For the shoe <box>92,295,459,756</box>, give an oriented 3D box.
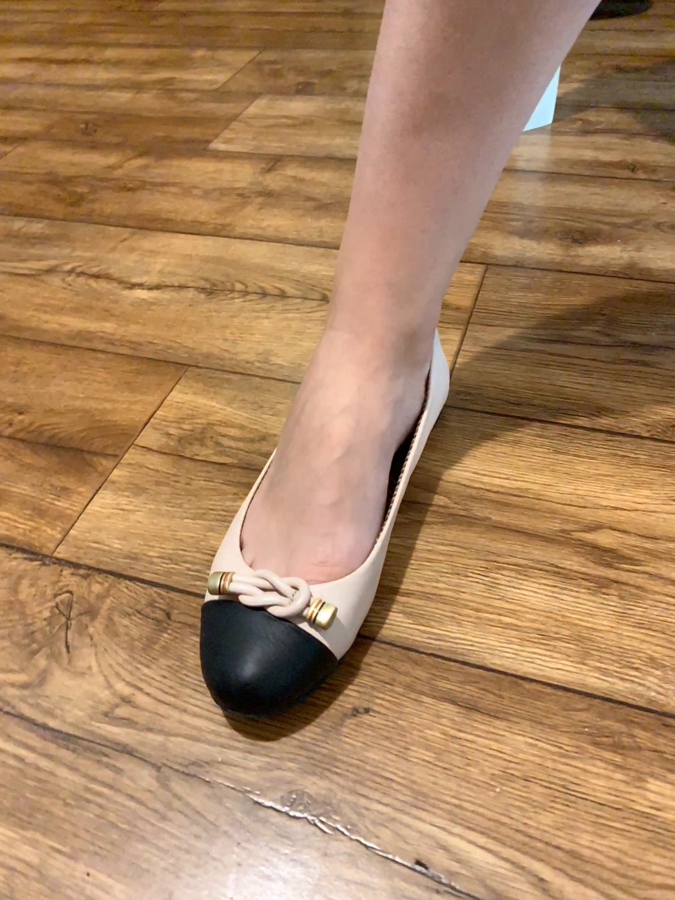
[{"bbox_3d":[-0.011,0.016,0.336,0.083,0.059,0.221,12,48,18],"label":"shoe"}]
